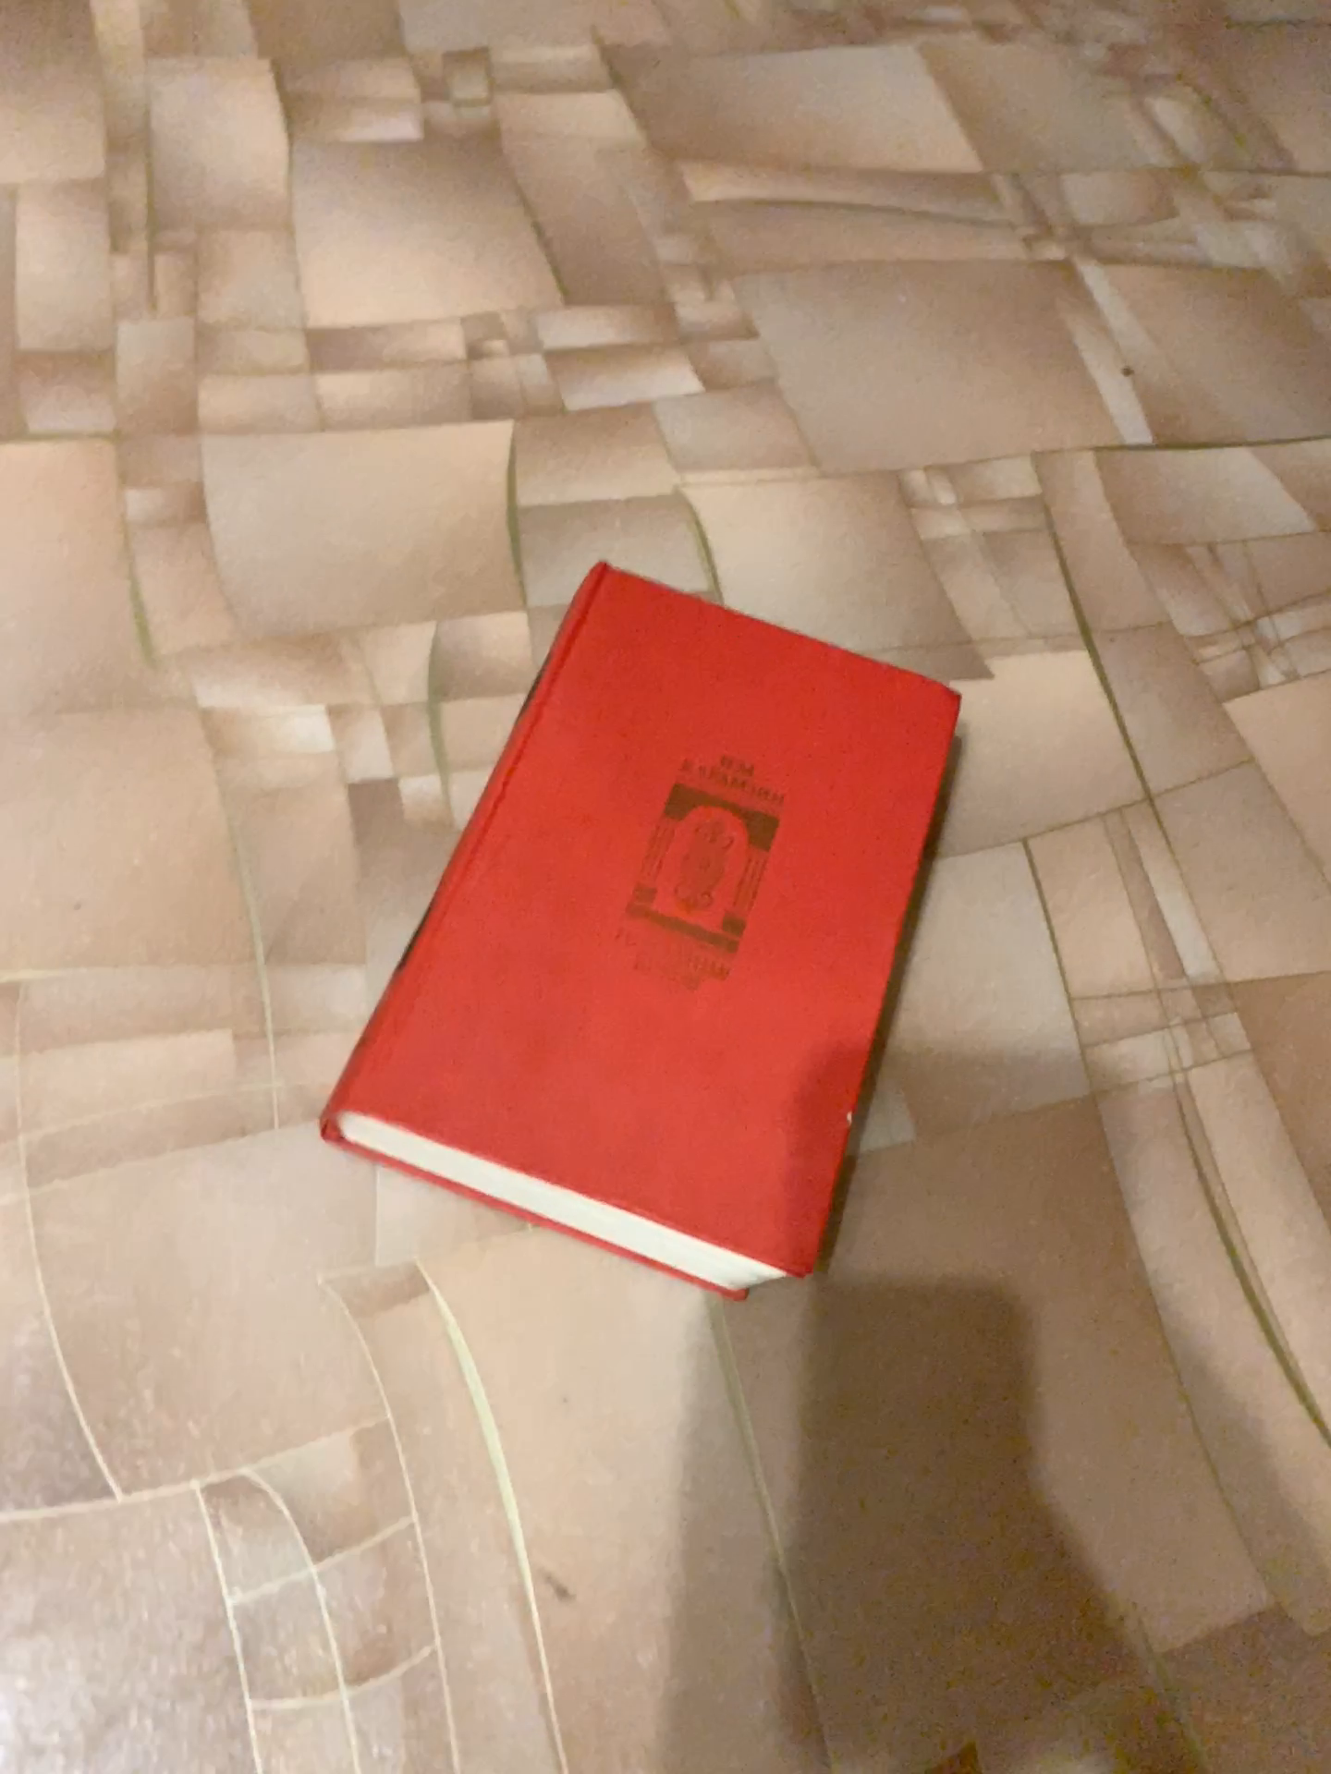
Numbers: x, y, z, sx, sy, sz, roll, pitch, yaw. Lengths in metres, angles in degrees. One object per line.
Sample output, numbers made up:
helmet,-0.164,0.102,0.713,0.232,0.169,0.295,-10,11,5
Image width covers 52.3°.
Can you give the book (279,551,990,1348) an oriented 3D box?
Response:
book,0.000,0.009,0.403,0.140,0.050,0.201,20,61,4
